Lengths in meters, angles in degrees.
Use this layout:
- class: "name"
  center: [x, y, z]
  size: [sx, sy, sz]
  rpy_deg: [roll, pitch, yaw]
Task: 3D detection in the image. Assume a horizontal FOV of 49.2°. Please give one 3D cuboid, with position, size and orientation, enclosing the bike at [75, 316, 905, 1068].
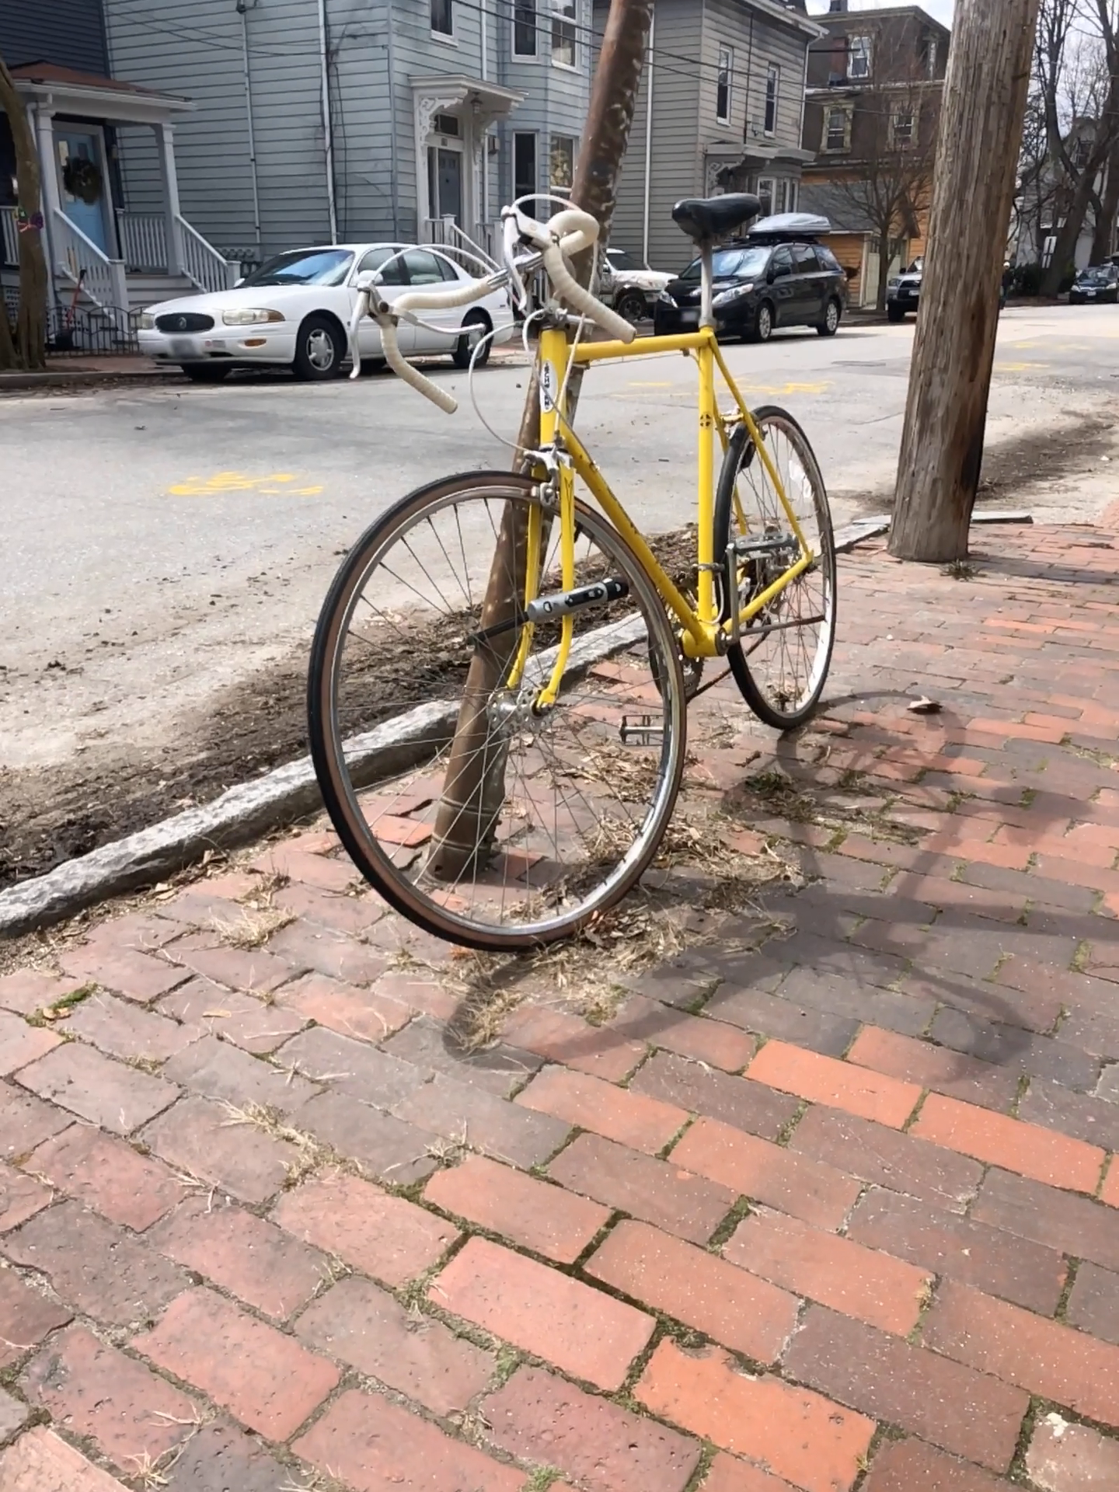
- class: "bike"
  center: [0.051, -0.295, 2.273]
  size: [0.539, 0.804, 1.695]
  rpy_deg: [13, 27, 31]
